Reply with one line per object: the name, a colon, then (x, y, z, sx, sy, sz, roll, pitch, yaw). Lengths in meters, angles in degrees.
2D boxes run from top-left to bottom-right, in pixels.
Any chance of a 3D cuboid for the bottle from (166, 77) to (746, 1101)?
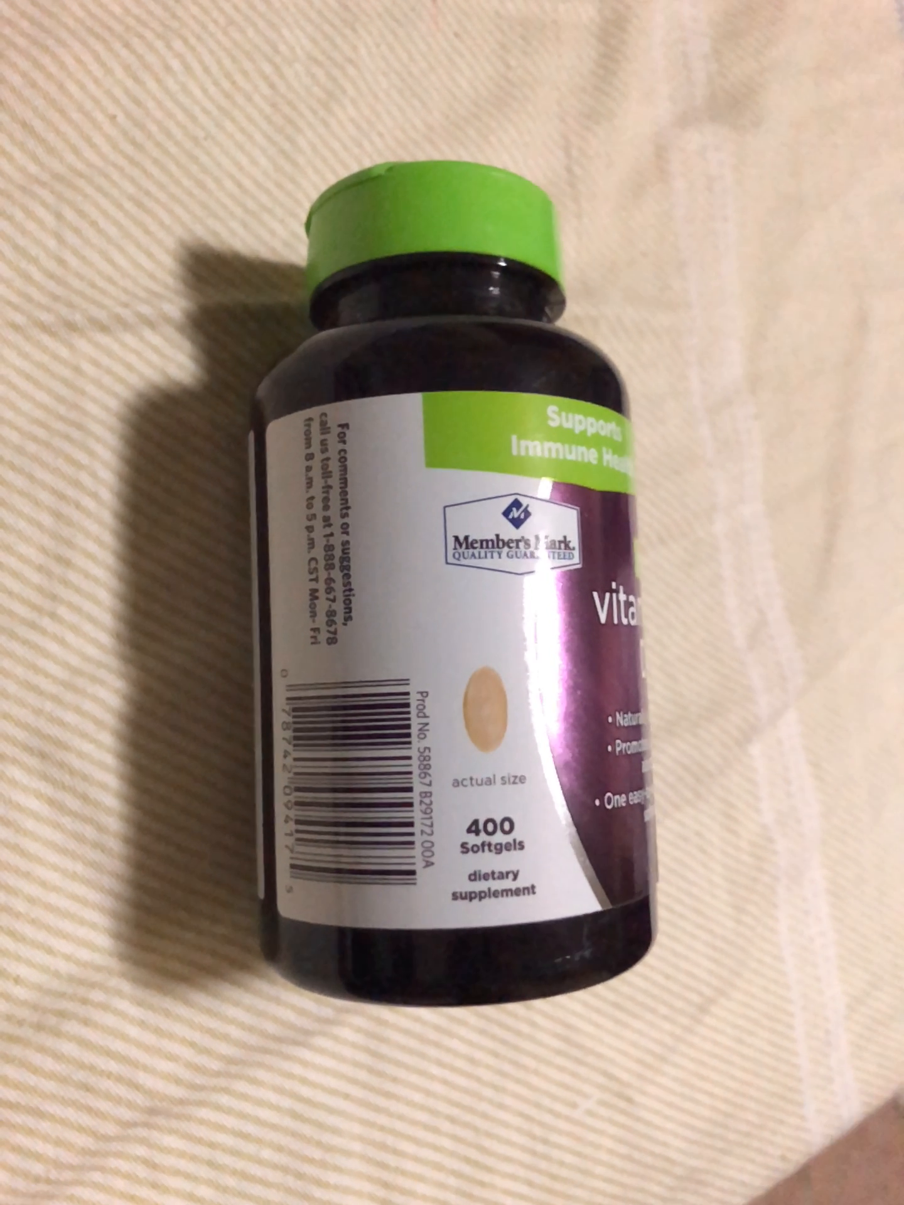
bottle: (0.000, -0.001, 0.153, 0.060, 0.060, 0.110, 2, 87, -45)
